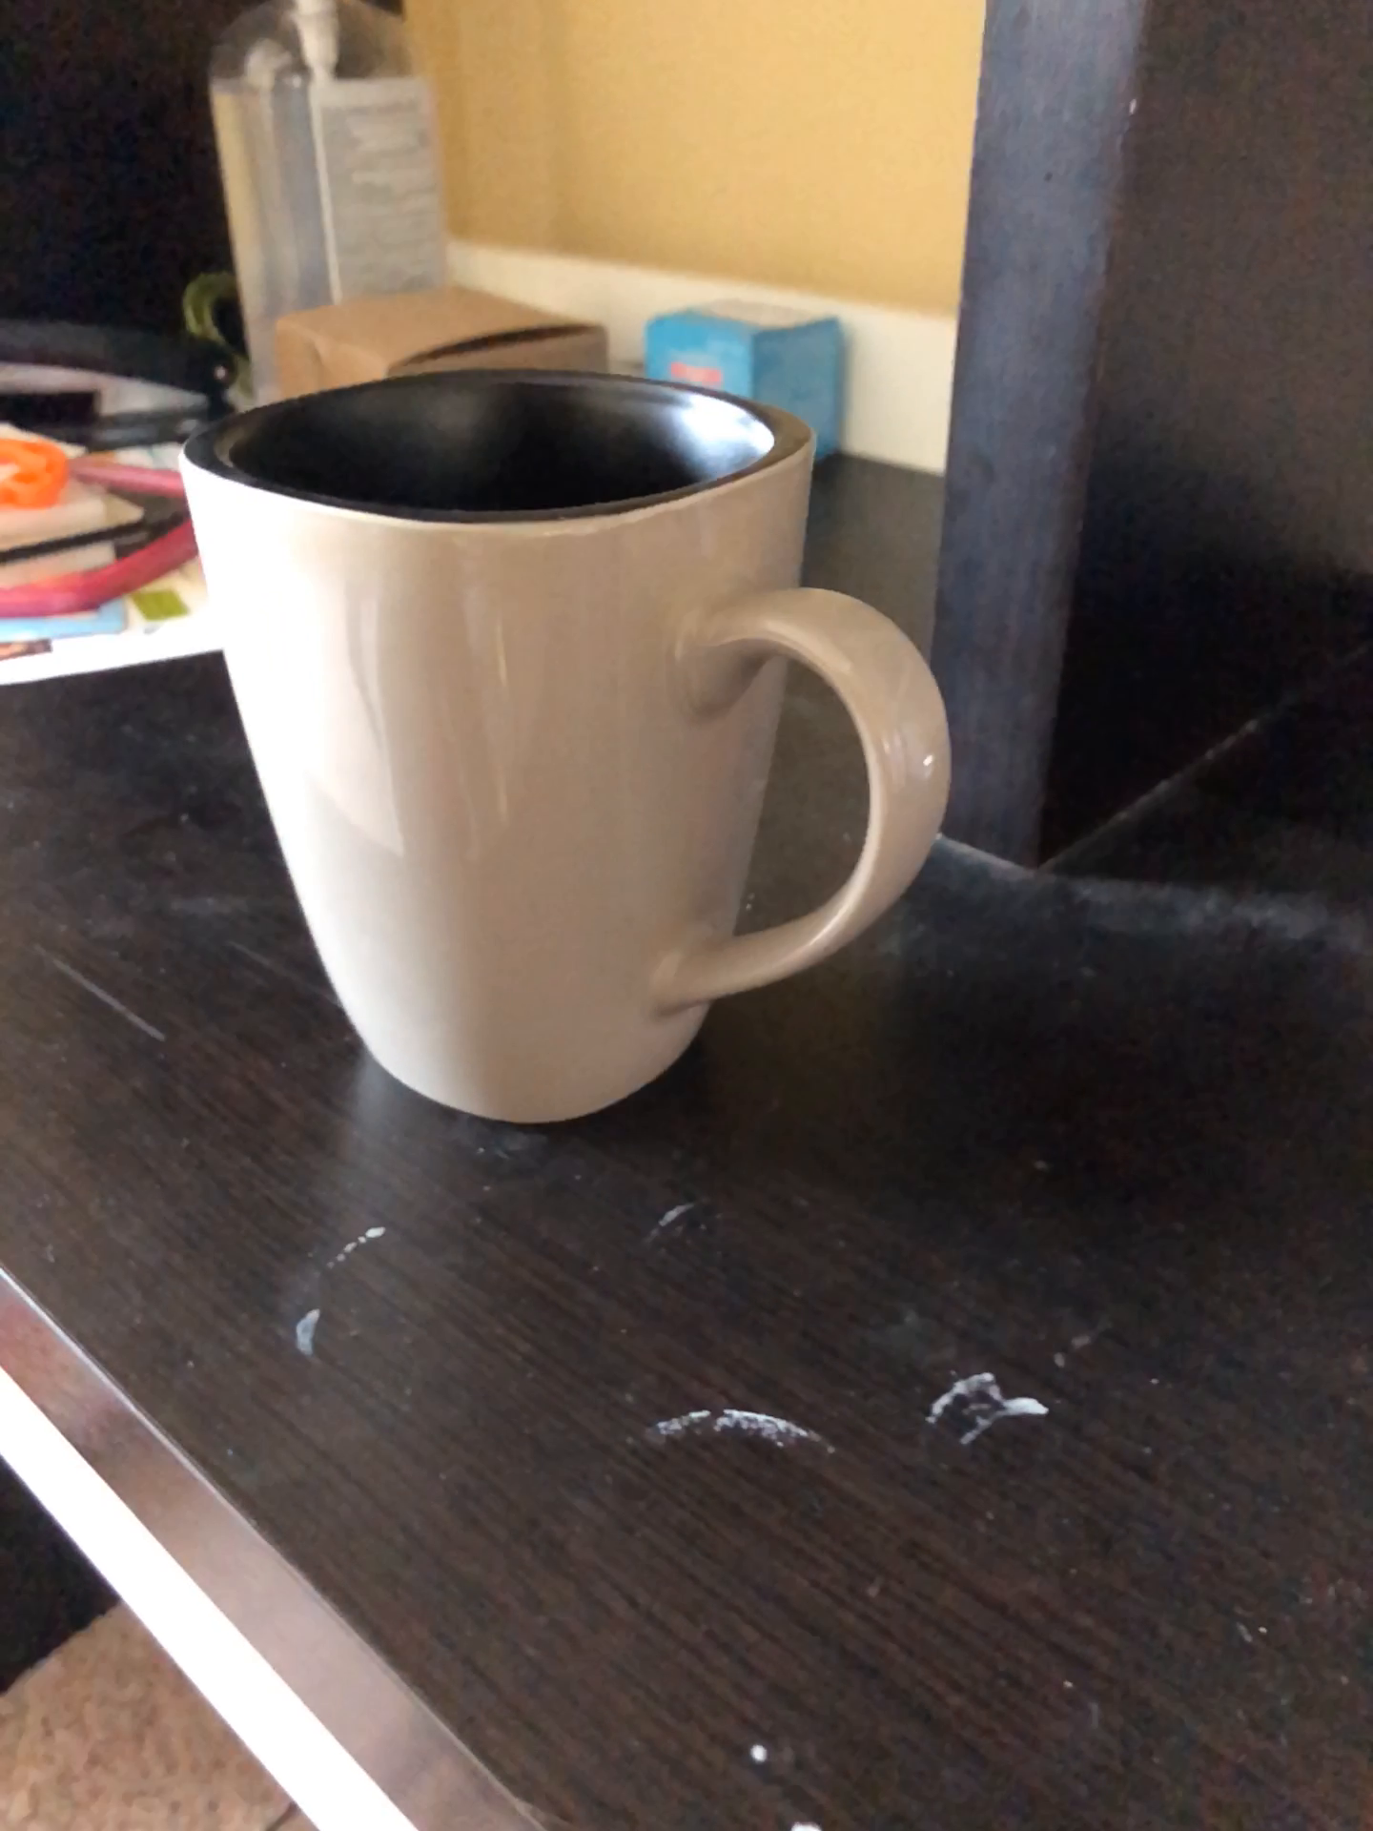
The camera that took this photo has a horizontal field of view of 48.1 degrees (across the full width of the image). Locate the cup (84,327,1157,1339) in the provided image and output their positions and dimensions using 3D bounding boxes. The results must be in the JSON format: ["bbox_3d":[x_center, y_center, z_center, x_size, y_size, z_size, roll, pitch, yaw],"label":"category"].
[{"bbox_3d":[-0.010,-0.027,0.264,0.130,0.110,0.100,22,39,32],"label":"cup"}]
